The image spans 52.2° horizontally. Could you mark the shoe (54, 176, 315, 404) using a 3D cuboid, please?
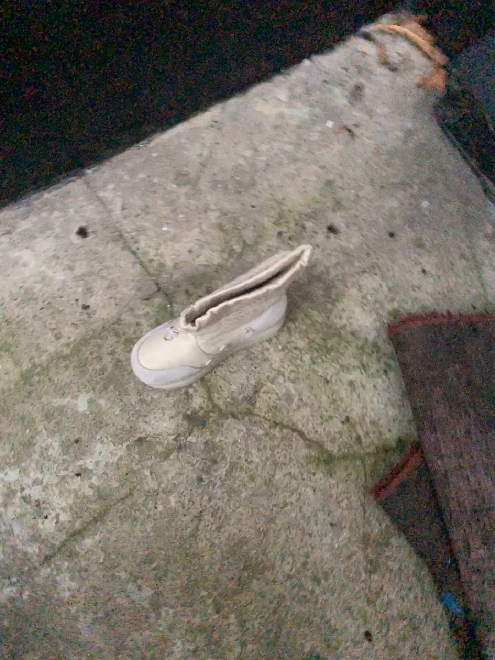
[{"bbox_3d":[-0.067,-0.031,0.705,0.270,0.299,0.110,-29,76,-7],"label":"shoe"}]
